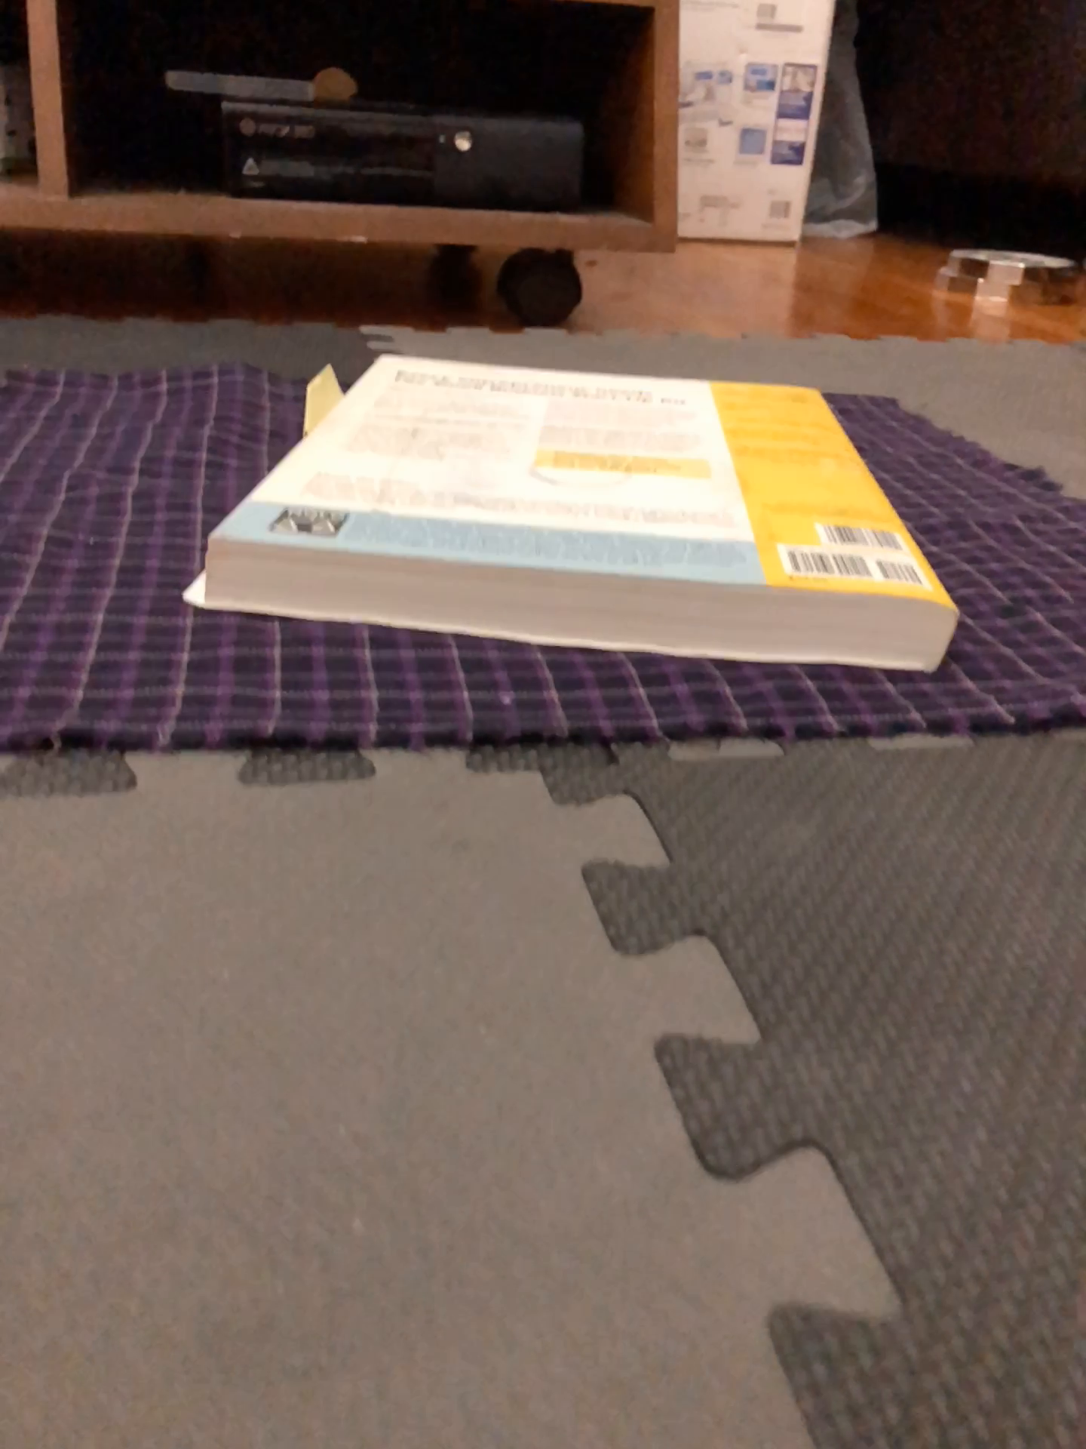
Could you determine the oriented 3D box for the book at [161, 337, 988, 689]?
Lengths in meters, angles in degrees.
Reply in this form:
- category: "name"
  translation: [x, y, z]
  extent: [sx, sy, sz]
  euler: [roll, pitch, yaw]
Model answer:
- category: "book"
  translation: [0.017, -0.104, 0.478]
  extent: [0.230, 0.030, 0.312]
  euler: [5, 27, 1]
